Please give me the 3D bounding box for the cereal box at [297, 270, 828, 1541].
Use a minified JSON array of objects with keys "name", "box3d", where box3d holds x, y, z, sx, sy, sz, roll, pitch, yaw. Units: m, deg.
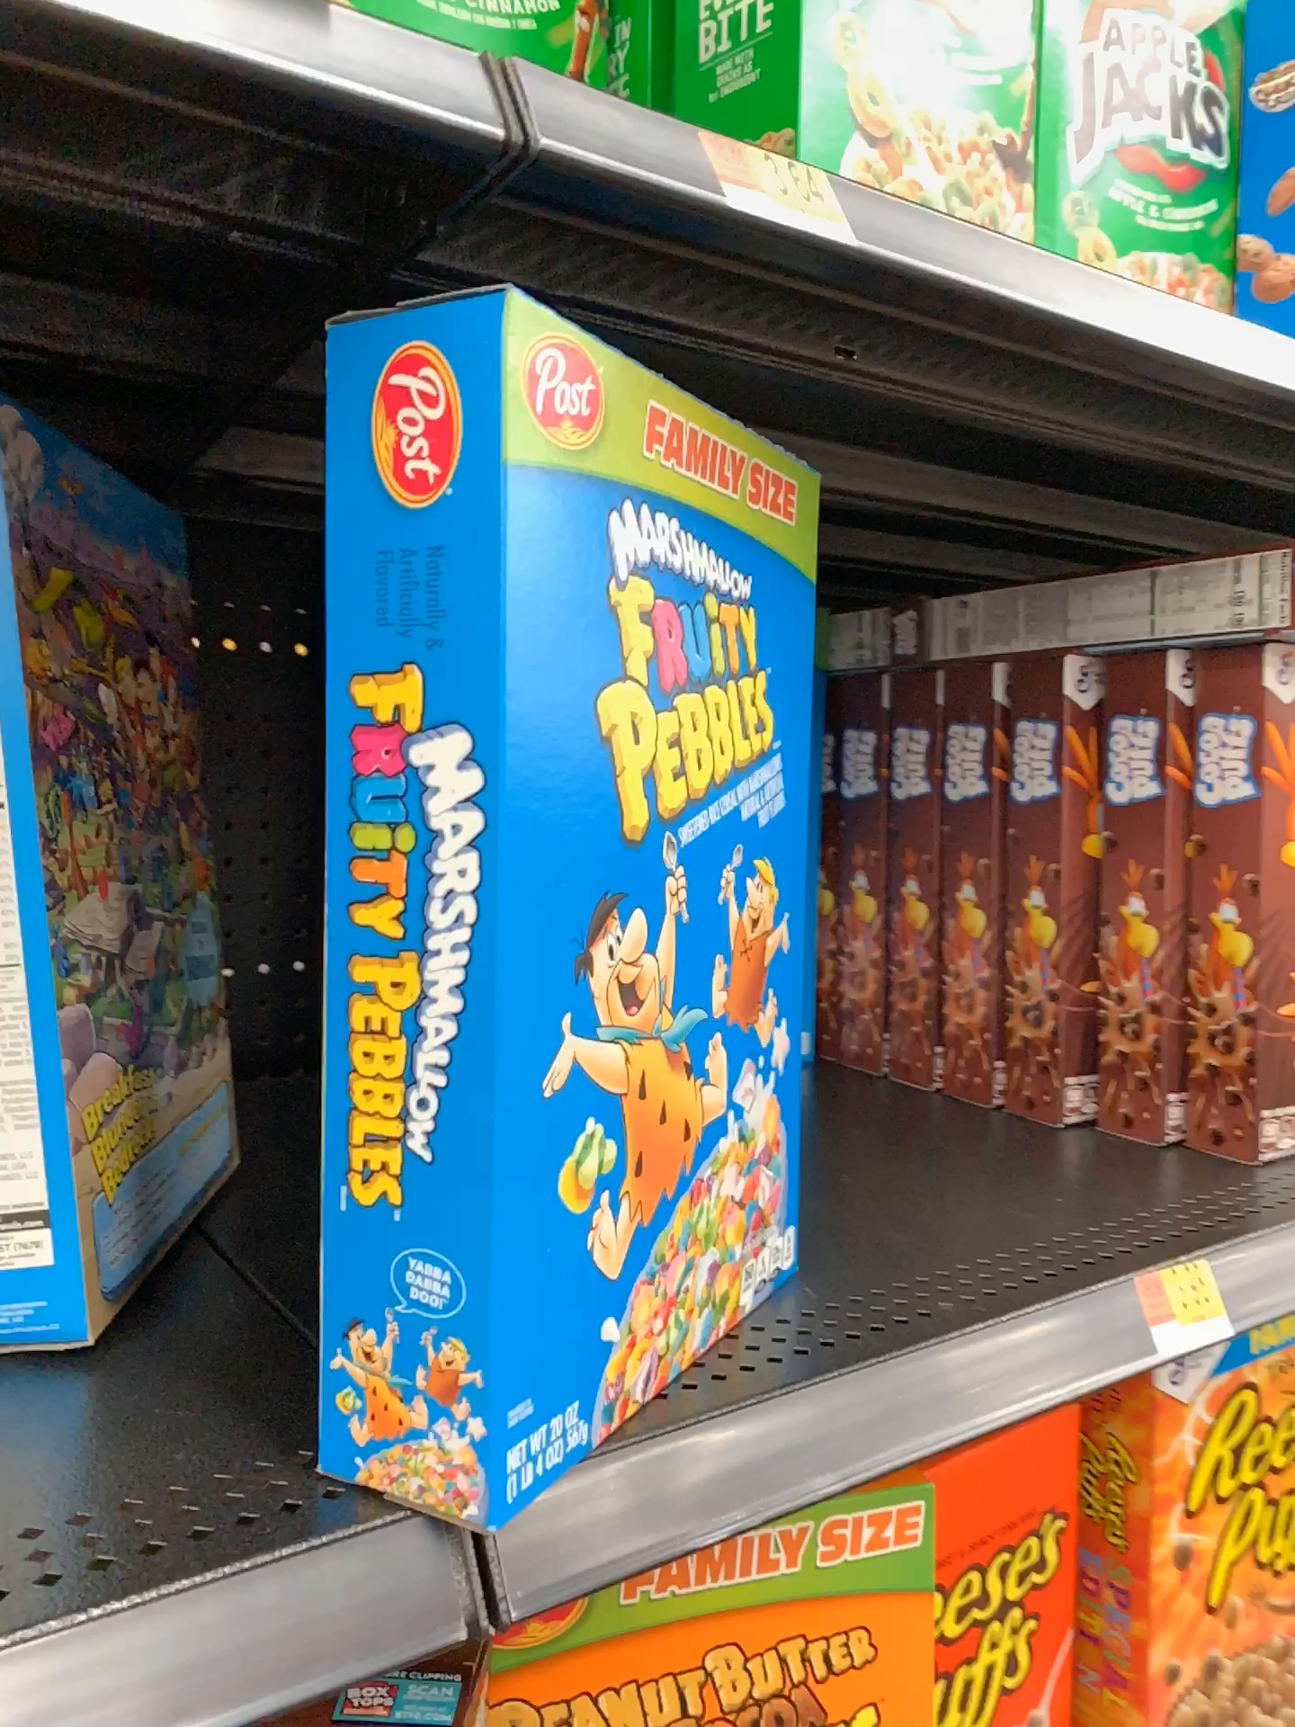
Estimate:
[{"name":"cereal box","box3d":[-0.014,0.008,0.463,0.070,0.330,0.230,3,3,26]}]
